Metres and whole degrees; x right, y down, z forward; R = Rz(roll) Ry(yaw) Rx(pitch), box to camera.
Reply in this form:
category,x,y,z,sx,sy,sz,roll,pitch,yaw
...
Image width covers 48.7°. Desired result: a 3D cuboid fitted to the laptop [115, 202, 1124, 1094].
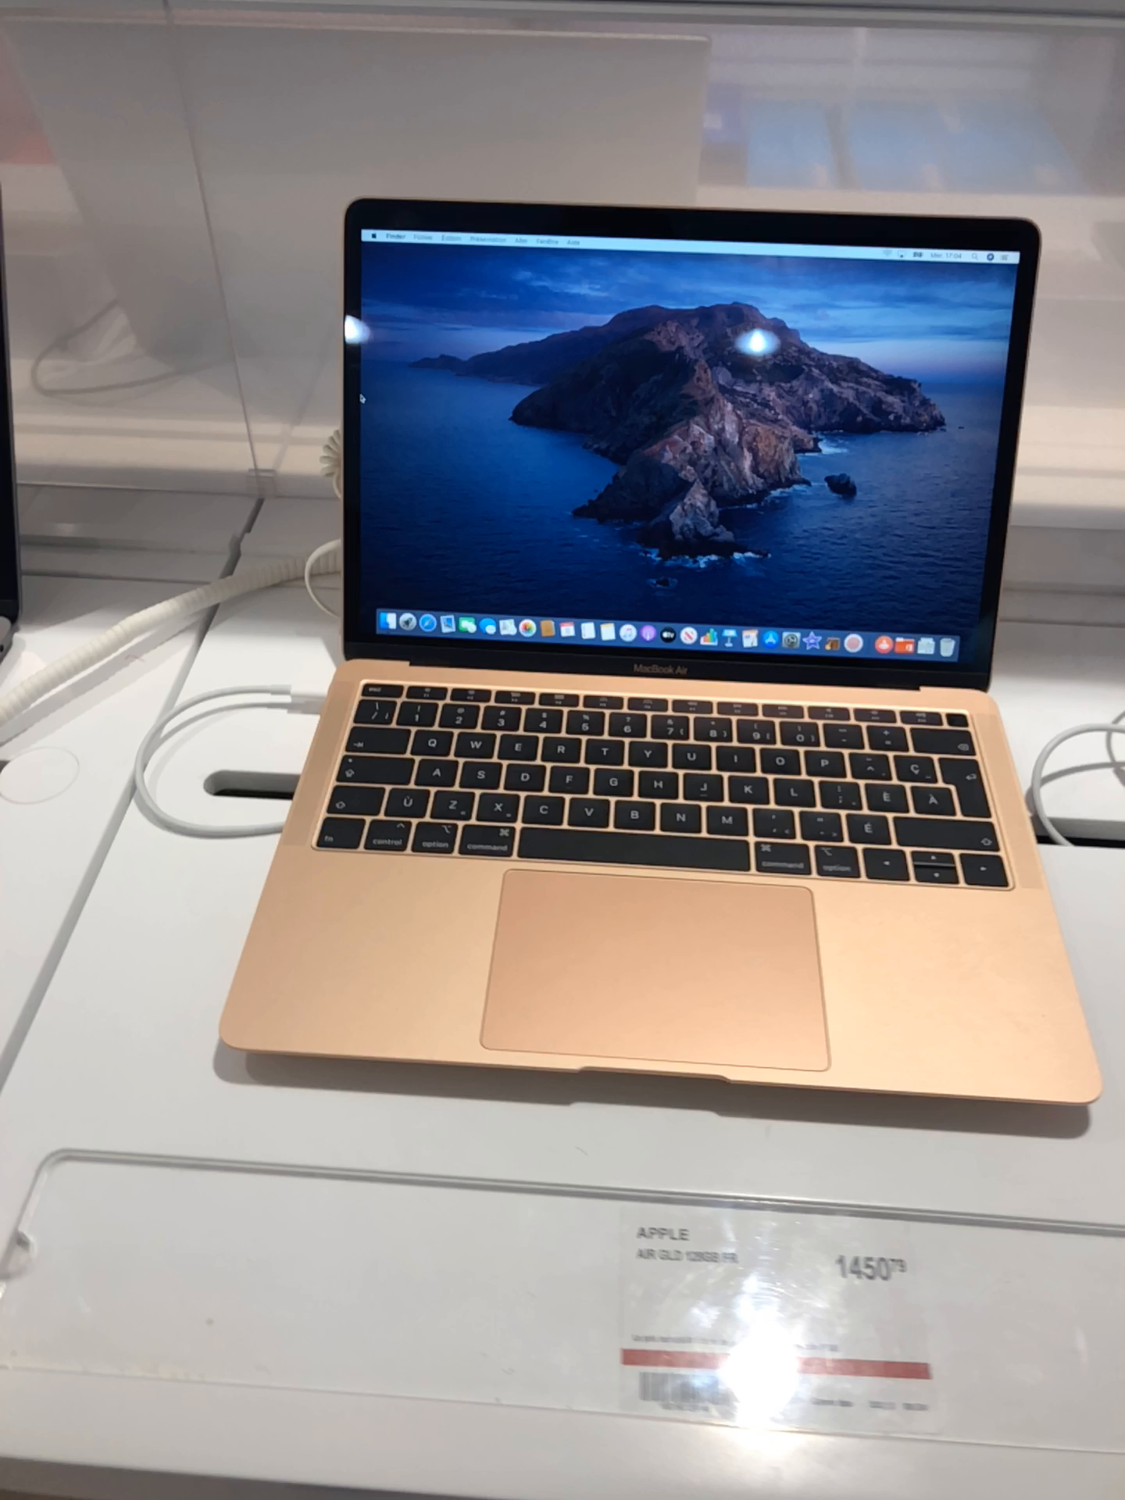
category,x,y,z,sx,sy,sz,roll,pitch,yaw
laptop,0.042,-0.059,0.475,0.291,0.170,0.305,3,44,2
